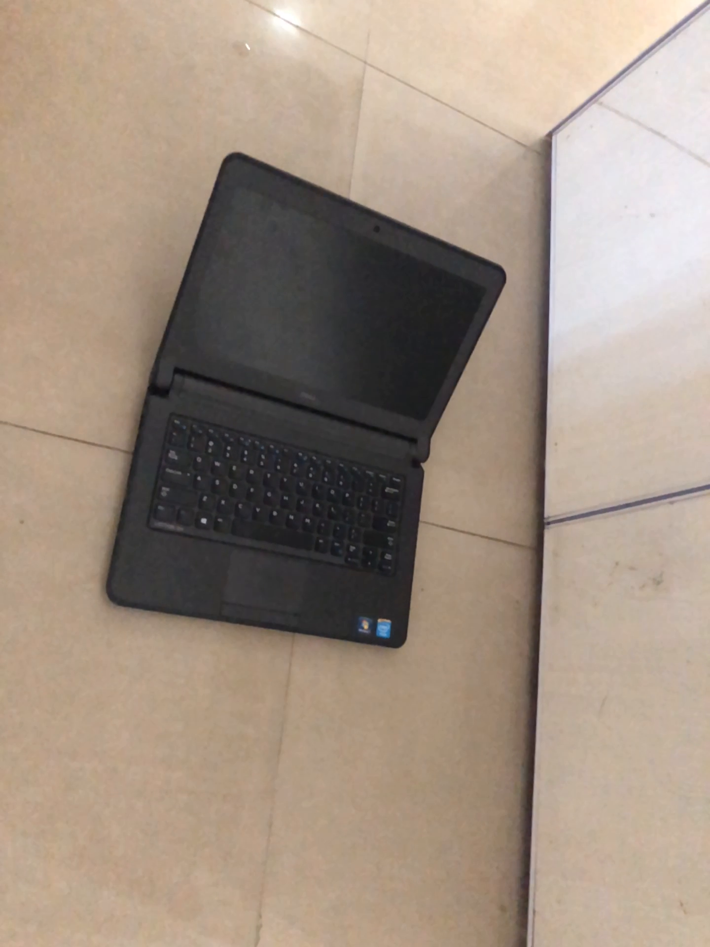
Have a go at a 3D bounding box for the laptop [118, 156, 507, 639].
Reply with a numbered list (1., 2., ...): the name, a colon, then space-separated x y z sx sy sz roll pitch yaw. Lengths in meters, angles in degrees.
1. laptop: -0.029 -0.053 0.790 0.313 0.154 0.393 14 71 -26
